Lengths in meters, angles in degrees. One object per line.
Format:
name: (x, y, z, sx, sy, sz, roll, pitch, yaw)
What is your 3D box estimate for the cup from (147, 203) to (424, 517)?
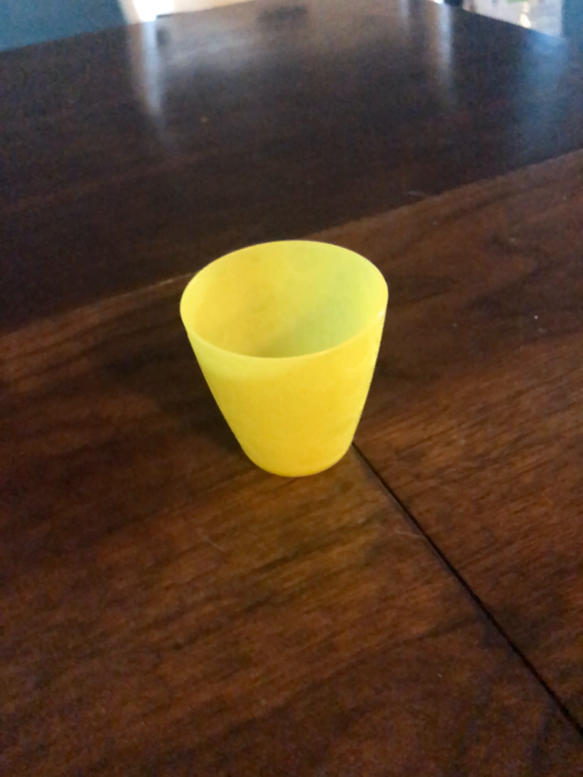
cup: (-0.003, -0.015, 0.271, 0.080, 0.080, 0.080, -3, 42, 3)
